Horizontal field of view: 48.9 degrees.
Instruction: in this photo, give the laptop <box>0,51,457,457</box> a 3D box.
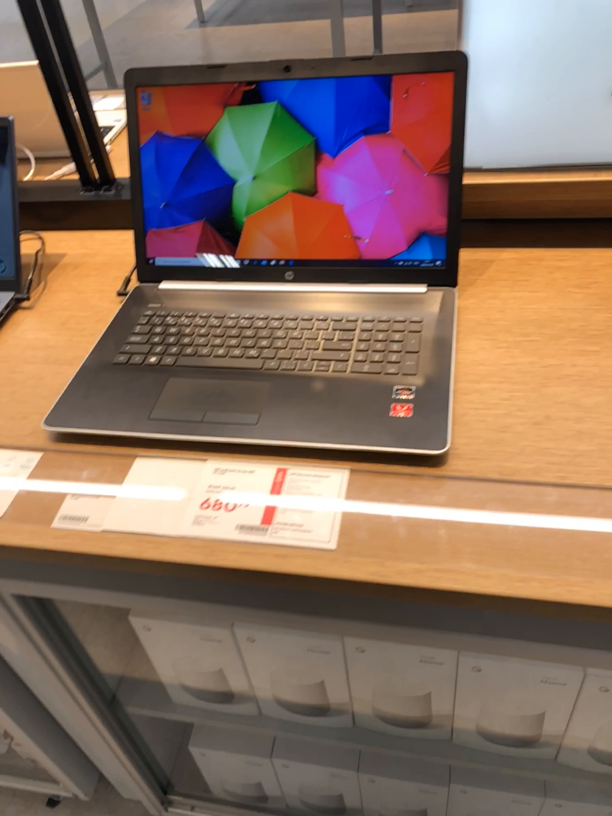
[{"bbox_3d":[-0.049,-0.186,0.731,0.399,0.217,0.399,3,46,12],"label":"laptop"}]
